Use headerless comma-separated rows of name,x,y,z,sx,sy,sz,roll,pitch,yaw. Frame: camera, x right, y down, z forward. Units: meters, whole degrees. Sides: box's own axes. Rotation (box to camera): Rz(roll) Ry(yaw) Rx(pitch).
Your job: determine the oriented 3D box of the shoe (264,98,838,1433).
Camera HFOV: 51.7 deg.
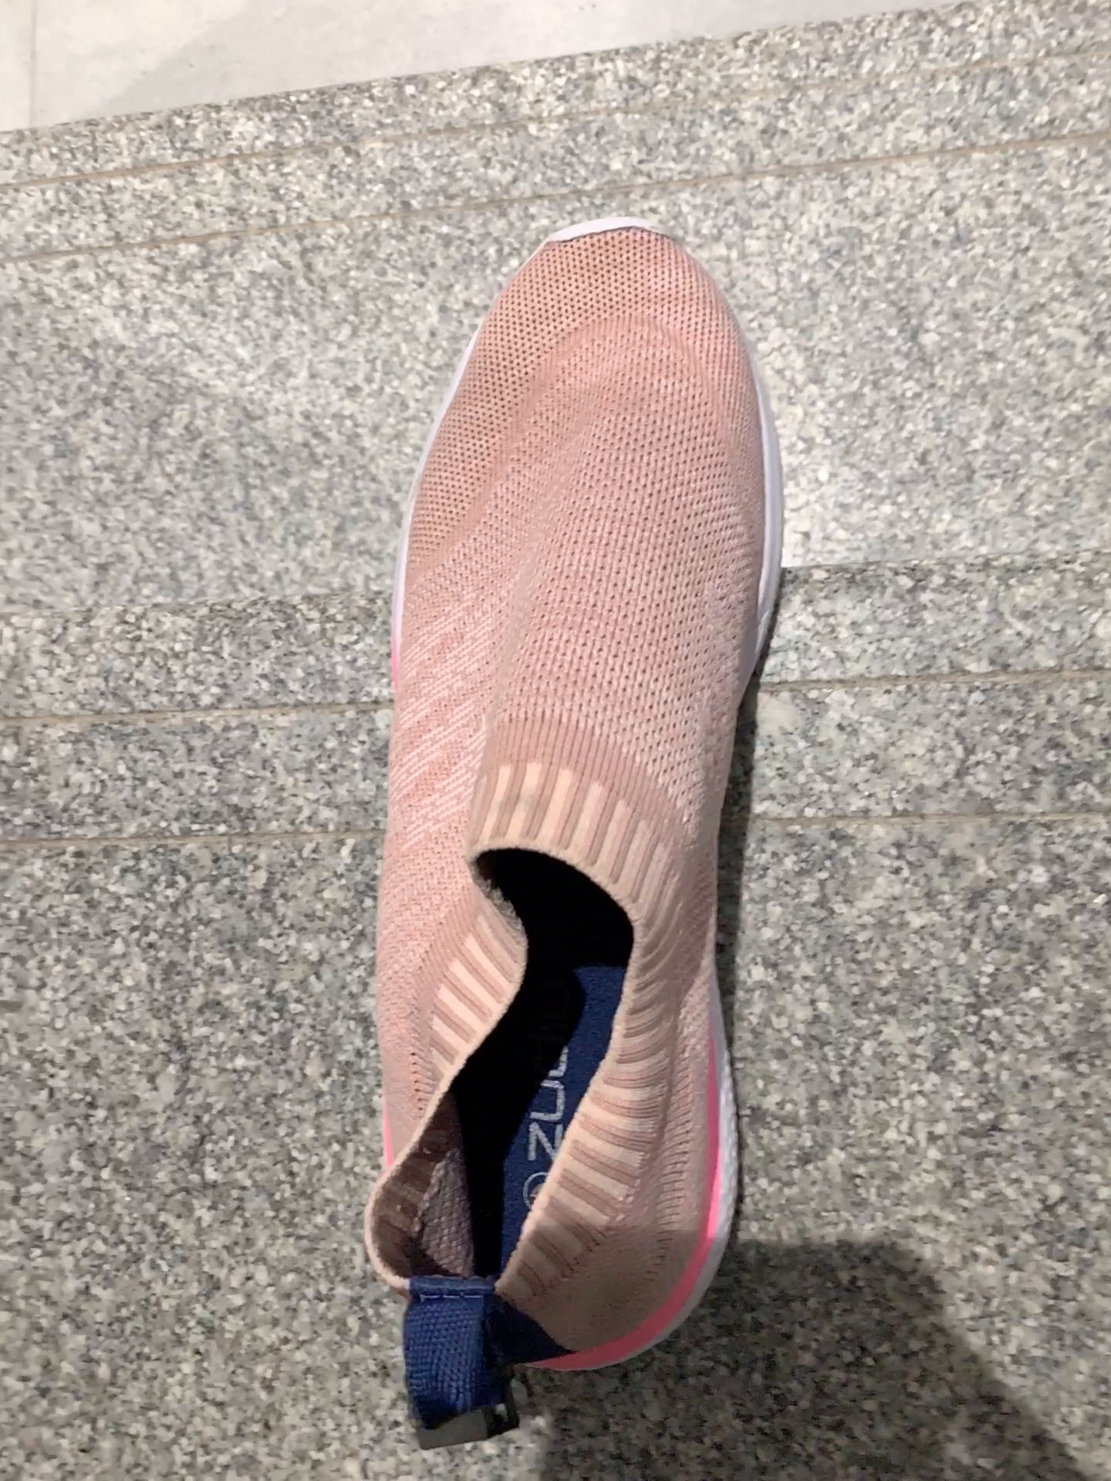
shoe,0.006,0.000,0.262,0.100,0.080,0.250,2,85,10
